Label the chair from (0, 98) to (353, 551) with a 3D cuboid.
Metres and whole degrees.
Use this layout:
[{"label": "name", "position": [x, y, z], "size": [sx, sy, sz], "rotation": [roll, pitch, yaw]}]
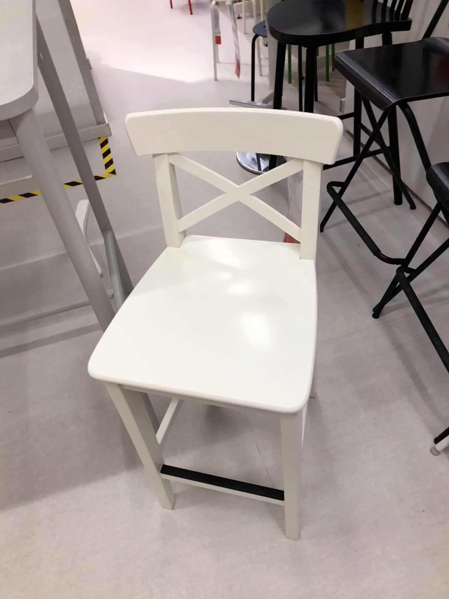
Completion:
[{"label": "chair", "position": [-0.008, 0.102, 0.991], "size": [0.420, 0.835, 0.422], "rotation": [7, 49, 15]}]
